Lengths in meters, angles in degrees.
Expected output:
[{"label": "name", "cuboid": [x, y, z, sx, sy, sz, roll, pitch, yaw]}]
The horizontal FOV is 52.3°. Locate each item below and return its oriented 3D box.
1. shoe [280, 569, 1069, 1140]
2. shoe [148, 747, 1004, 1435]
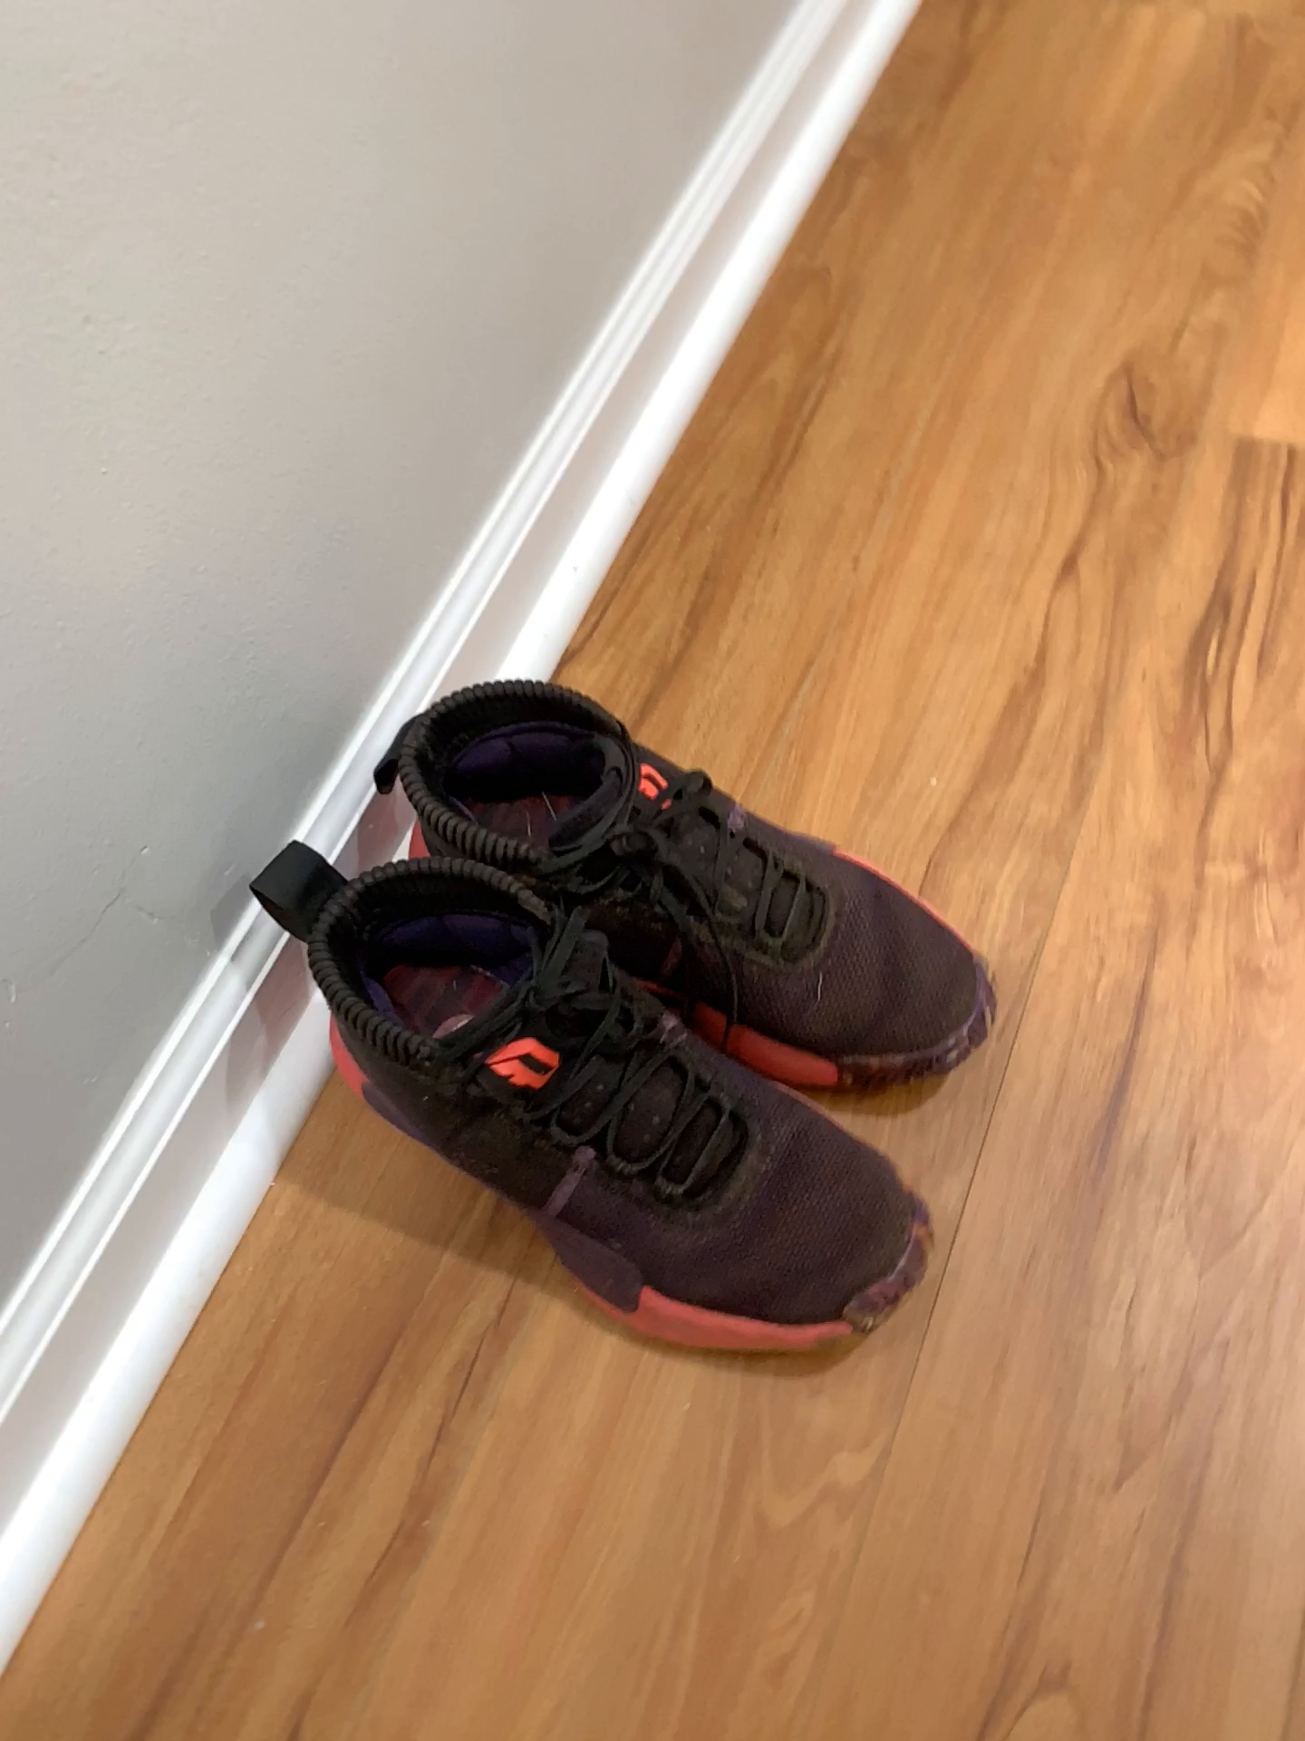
[{"label": "shoe", "cuboid": [0.012, -0.009, 0.574, 0.285, 0.132, 0.120, 18, 64, 18]}, {"label": "shoe", "cuboid": [-0.027, 0.083, 0.525, 0.286, 0.132, 0.120, 24, 66, 20]}]
